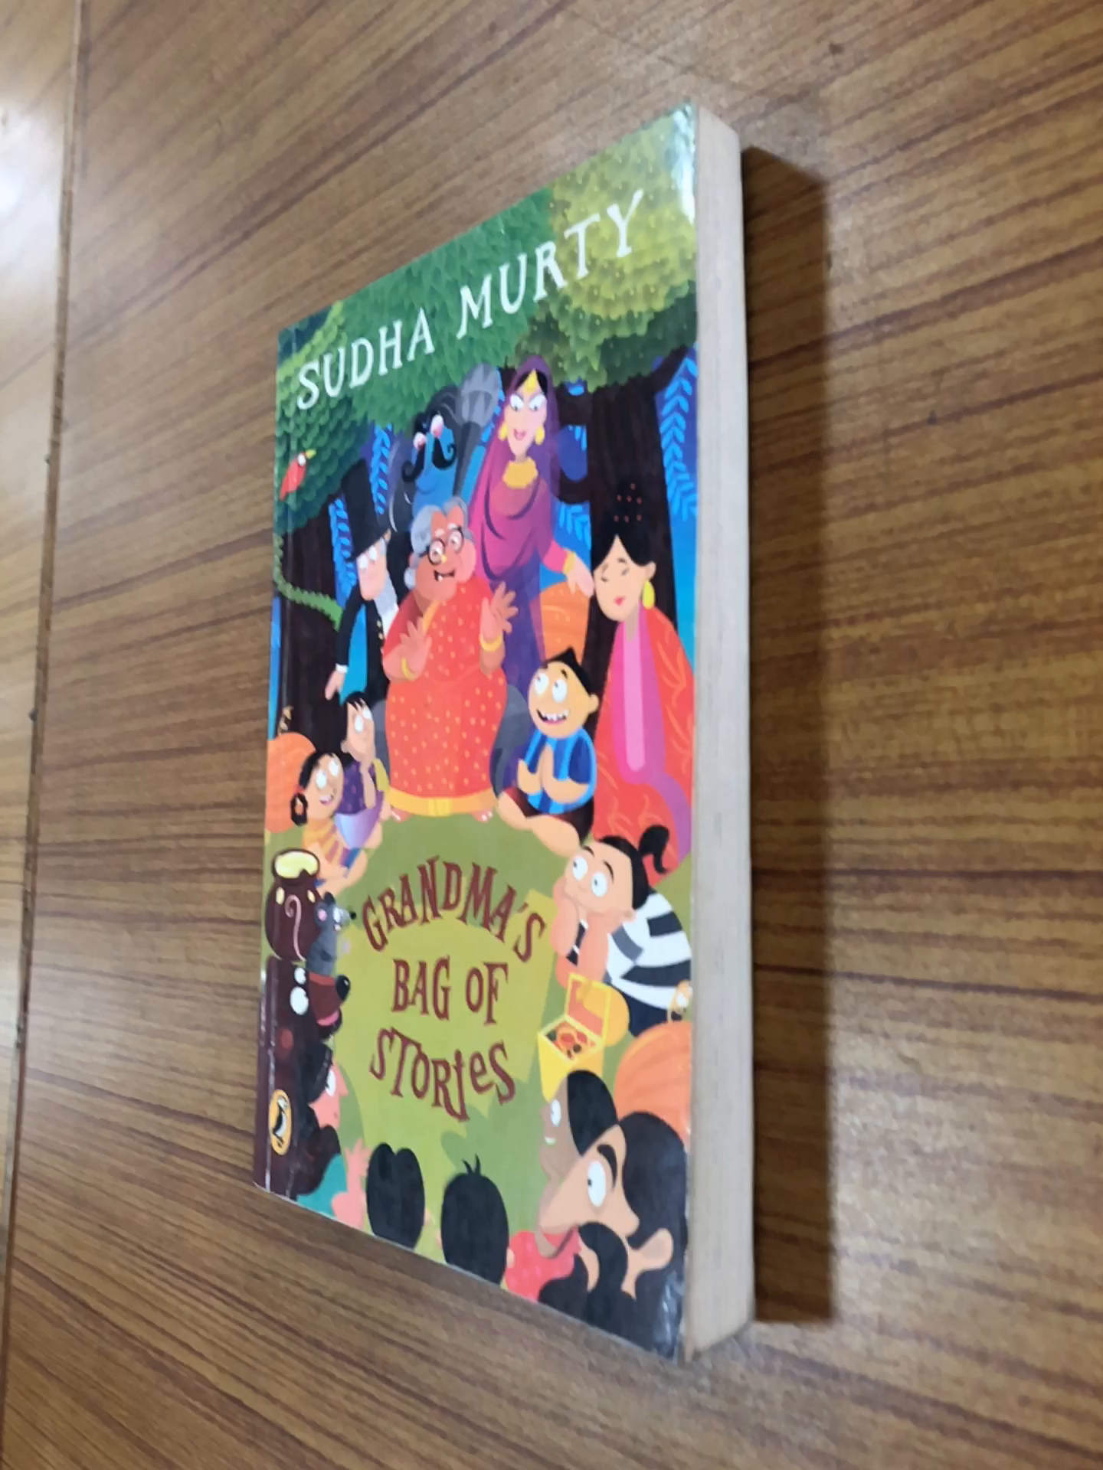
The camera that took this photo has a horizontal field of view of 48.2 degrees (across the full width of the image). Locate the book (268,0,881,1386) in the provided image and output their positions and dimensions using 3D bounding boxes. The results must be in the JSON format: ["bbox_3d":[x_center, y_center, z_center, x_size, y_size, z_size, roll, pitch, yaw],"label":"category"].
[{"bbox_3d":[-0.005,-0.009,0.237,0.131,0.030,0.210,-6,81,47],"label":"book"}]
